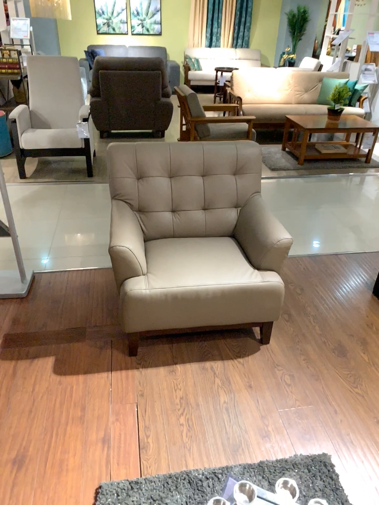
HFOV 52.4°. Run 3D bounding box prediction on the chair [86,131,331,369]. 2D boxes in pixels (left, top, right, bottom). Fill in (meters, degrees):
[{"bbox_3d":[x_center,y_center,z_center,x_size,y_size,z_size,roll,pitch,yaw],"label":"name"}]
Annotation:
[{"bbox_3d":[-0.008,-0.103,2.100,0.950,0.856,1.005,-3,31,-10],"label":"chair"}]
